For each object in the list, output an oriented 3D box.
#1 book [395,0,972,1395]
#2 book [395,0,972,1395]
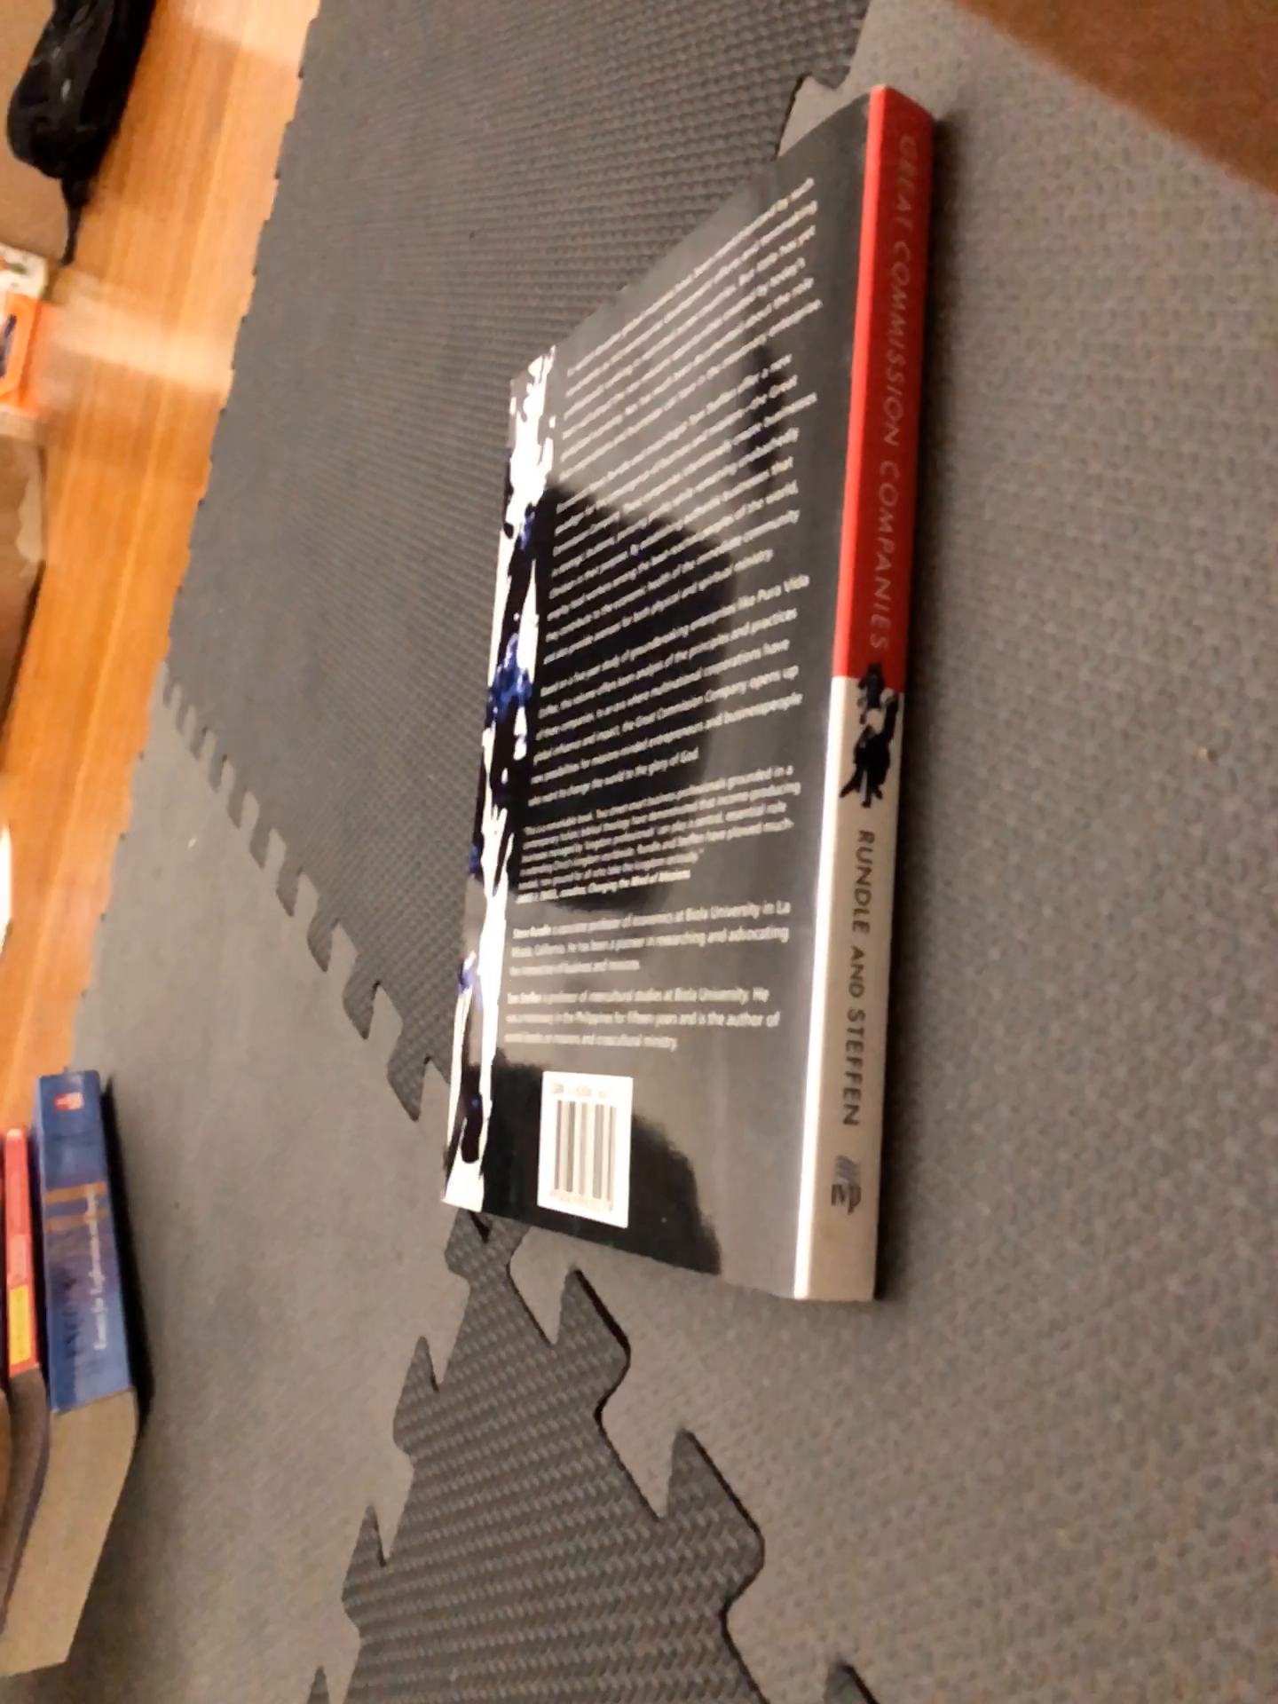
[{"bbox_3d":[0.001,-0.027,0.288,0.151,0.020,0.230,-12,70,59],"label":"book"},{"bbox_3d":[0.001,-0.027,0.288,0.151,0.020,0.230,-12,70,59],"label":"book"}]
